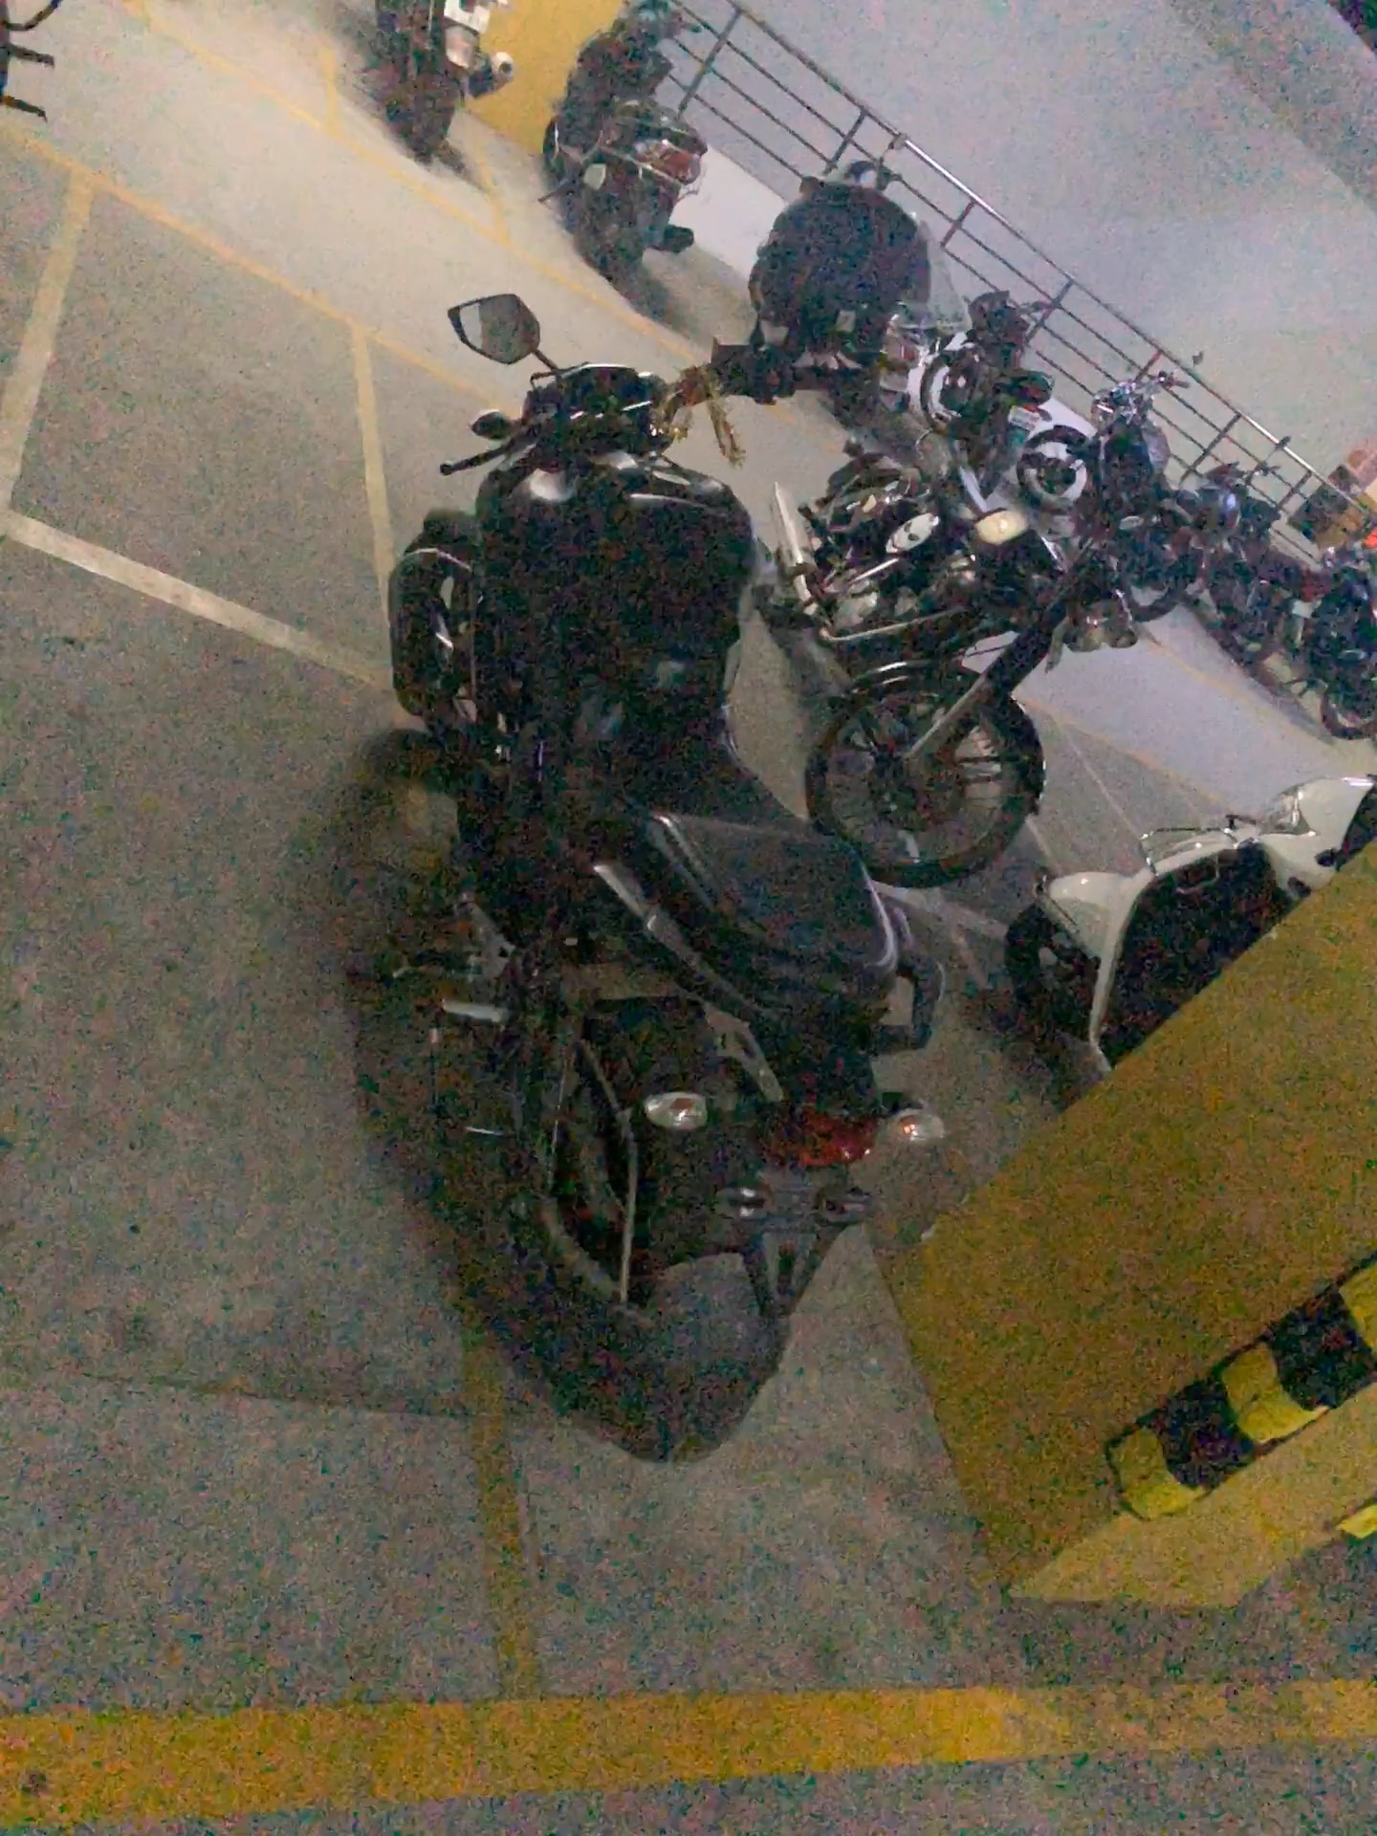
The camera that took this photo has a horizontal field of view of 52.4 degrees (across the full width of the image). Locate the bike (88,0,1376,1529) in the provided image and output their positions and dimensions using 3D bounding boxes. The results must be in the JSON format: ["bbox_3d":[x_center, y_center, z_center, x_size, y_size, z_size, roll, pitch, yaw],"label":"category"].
[{"bbox_3d":[-0.164,-0.308,1.913,0.788,1.096,1.738,14,41,-39],"label":"bike"}]
